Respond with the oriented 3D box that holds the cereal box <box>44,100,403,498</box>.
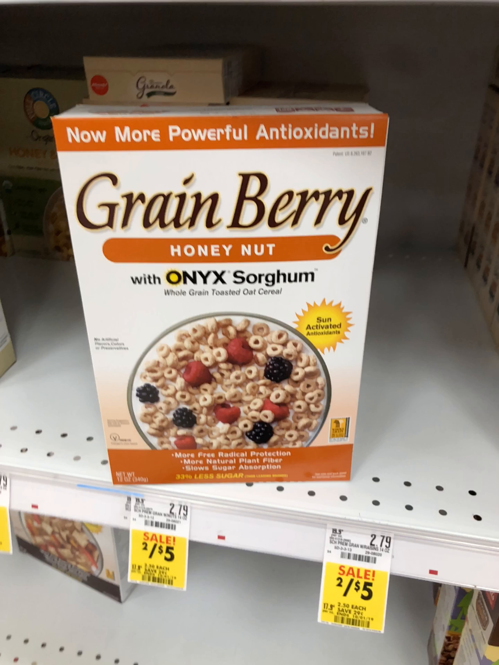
[{"bbox_3d":[-0.014,-0.011,0.410,0.200,0.289,0.070,-1,29,-1],"label":"cereal box"}]
